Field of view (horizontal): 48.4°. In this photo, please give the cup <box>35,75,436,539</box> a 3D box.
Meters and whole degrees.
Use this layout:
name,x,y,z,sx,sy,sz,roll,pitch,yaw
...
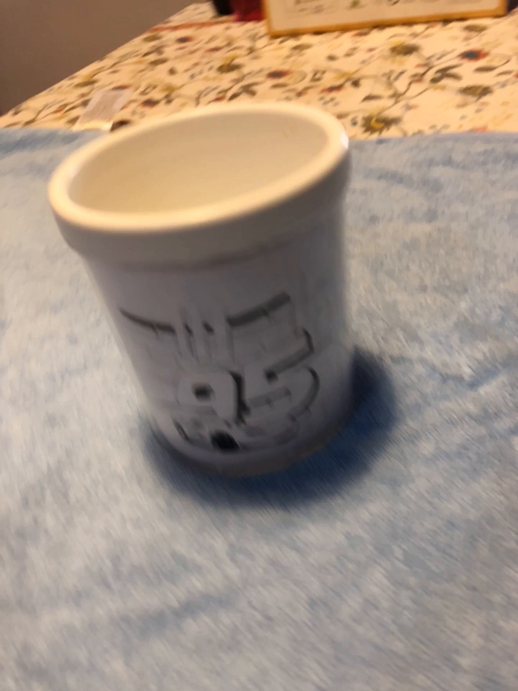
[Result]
name,x,y,z,sx,sy,sz,roll,pitch,yaw
cup,-0.012,-0.024,0.211,0.090,0.099,0.121,-22,40,-12
